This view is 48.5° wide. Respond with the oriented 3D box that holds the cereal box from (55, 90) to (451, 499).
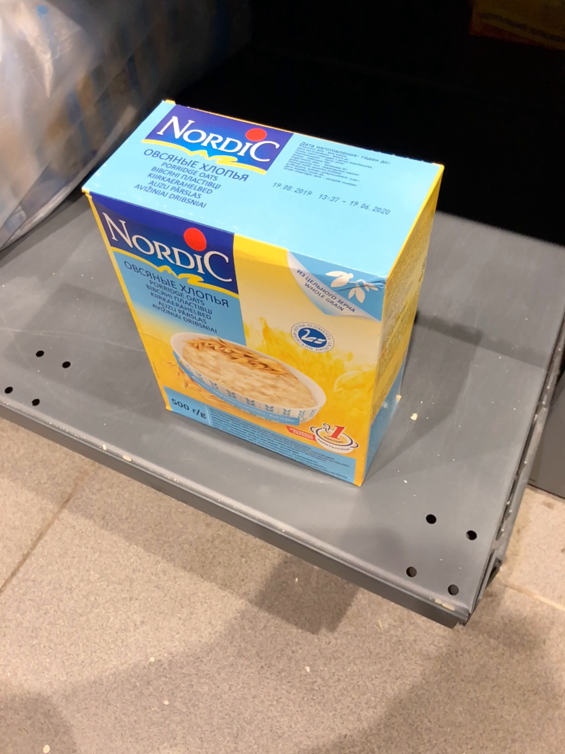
[{"bbox_3d":[-0.010,-0.035,0.341,0.150,0.179,0.080,20,57,16],"label":"cereal box"}]
